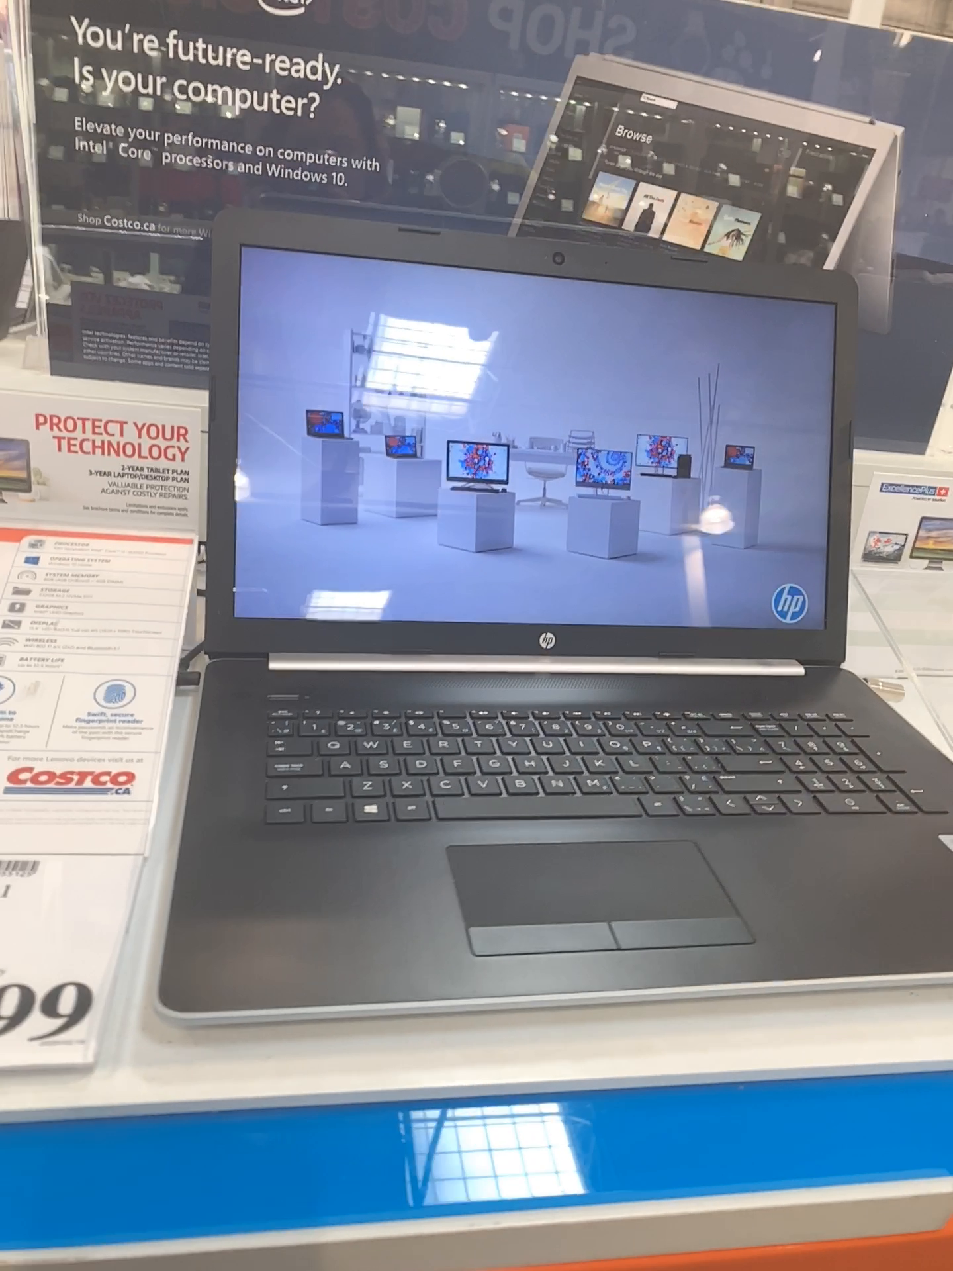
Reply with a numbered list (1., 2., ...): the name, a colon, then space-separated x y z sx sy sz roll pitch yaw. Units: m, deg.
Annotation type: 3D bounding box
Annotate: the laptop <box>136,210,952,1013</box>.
1. laptop: 0.066 -0.057 0.479 0.395 0.234 0.371 1 24 -12
